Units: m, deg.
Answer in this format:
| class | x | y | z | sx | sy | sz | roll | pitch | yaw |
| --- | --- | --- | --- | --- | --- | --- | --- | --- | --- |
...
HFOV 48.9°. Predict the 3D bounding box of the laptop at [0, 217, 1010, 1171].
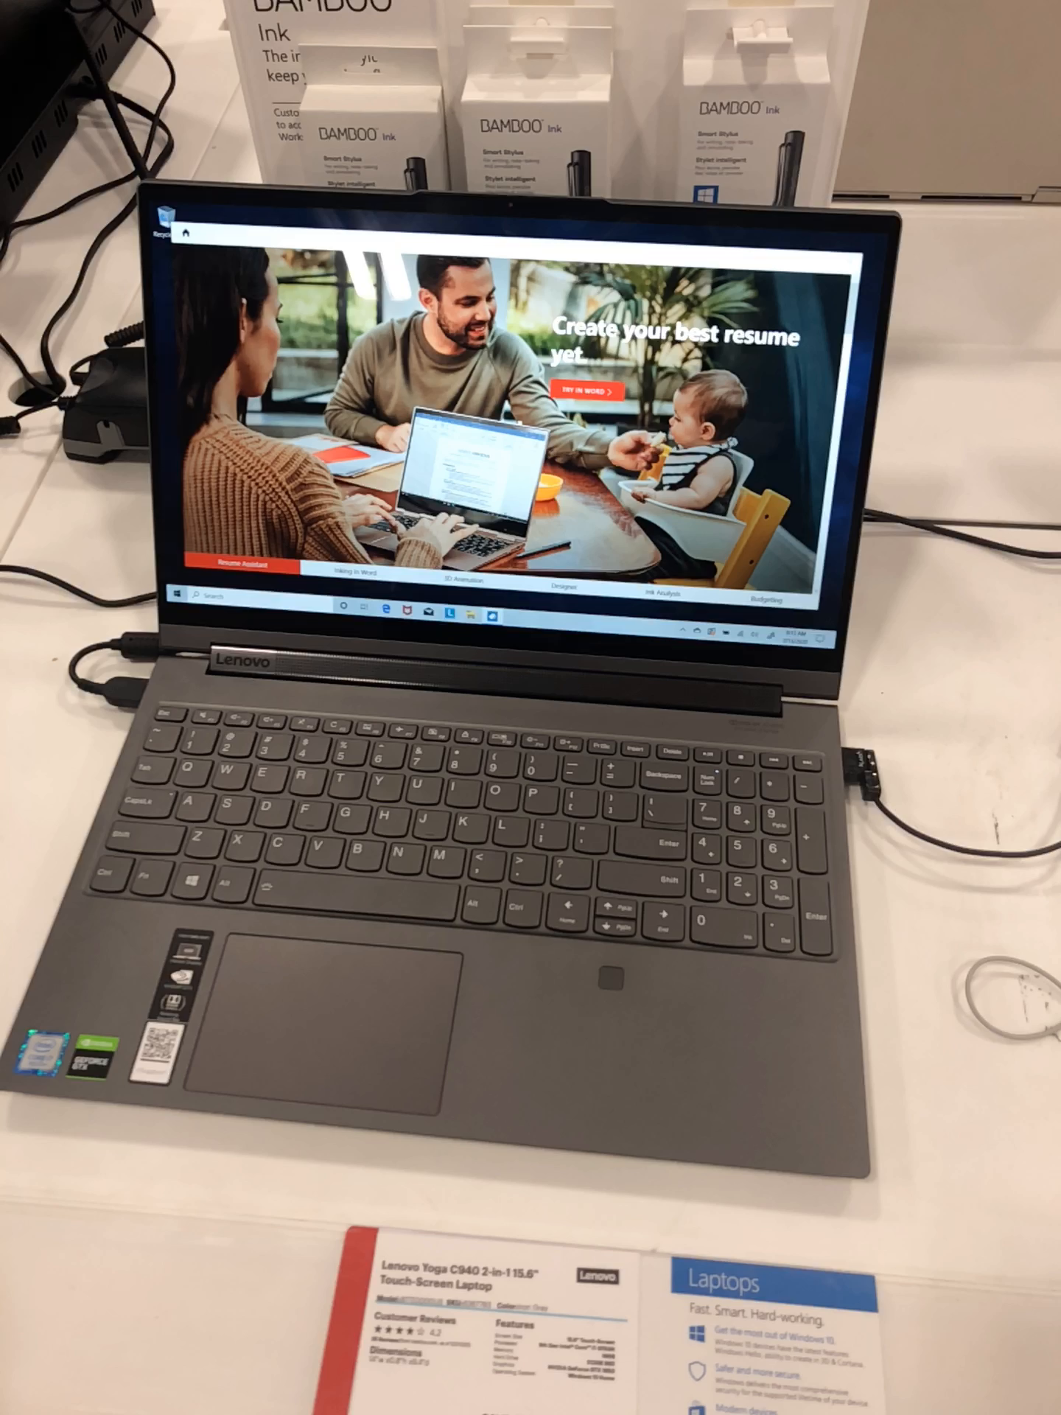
| class | x | y | z | sx | sy | sz | roll | pitch | yaw |
| --- | --- | --- | --- | --- | --- | --- | --- | --- | --- |
| laptop | -0.022 | -0.028 | 0.512 | 0.345 | 0.189 | 0.369 | 4 | 51 | 5 |
